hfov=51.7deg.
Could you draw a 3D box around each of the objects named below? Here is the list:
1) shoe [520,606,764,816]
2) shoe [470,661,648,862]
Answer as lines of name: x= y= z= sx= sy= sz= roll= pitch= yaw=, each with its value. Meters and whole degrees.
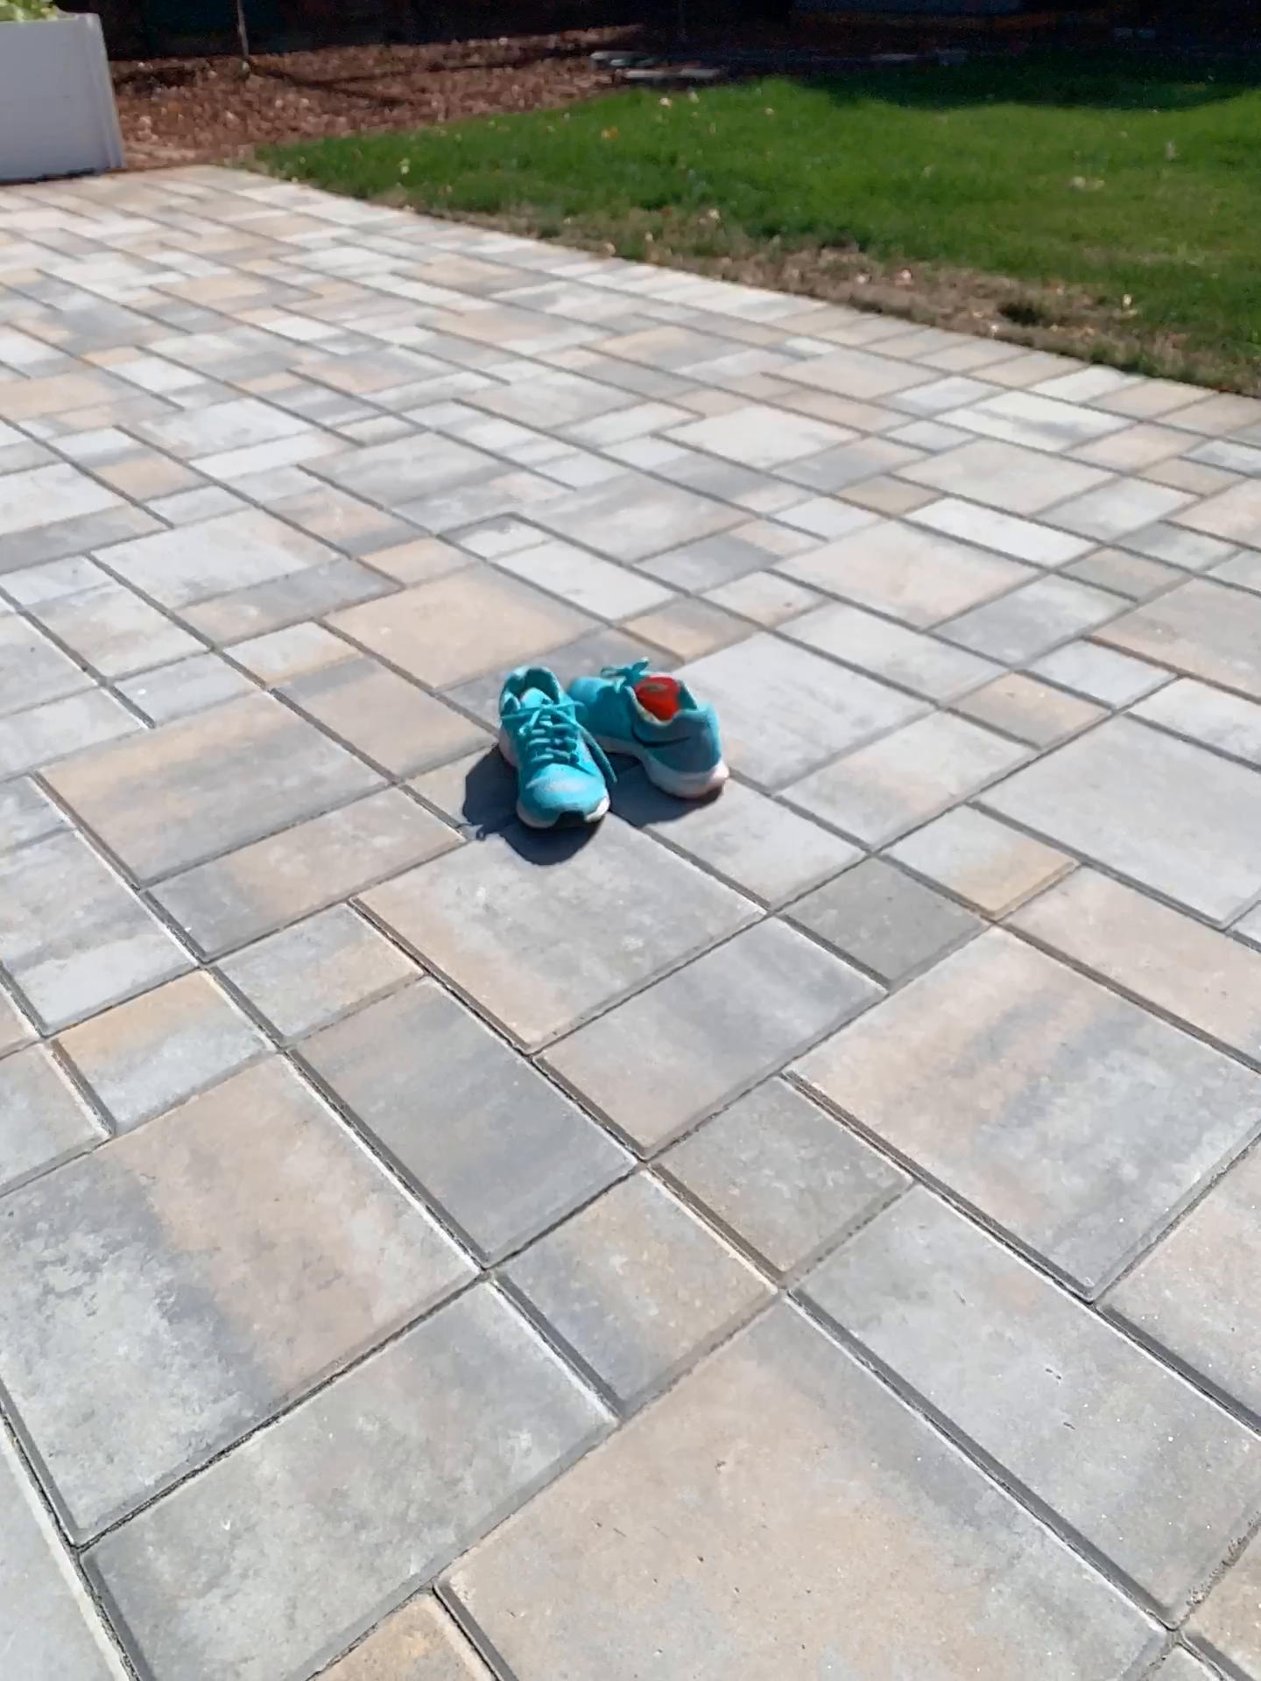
shoe: x=0.008 y=-0.151 z=1.447 sx=0.130 sy=0.099 sz=0.271 roll=-23 pitch=41 yaw=-29
shoe: x=-0.084 y=-0.096 z=1.439 sx=0.130 sy=0.099 sz=0.272 roll=-10 pitch=31 yaw=-14
